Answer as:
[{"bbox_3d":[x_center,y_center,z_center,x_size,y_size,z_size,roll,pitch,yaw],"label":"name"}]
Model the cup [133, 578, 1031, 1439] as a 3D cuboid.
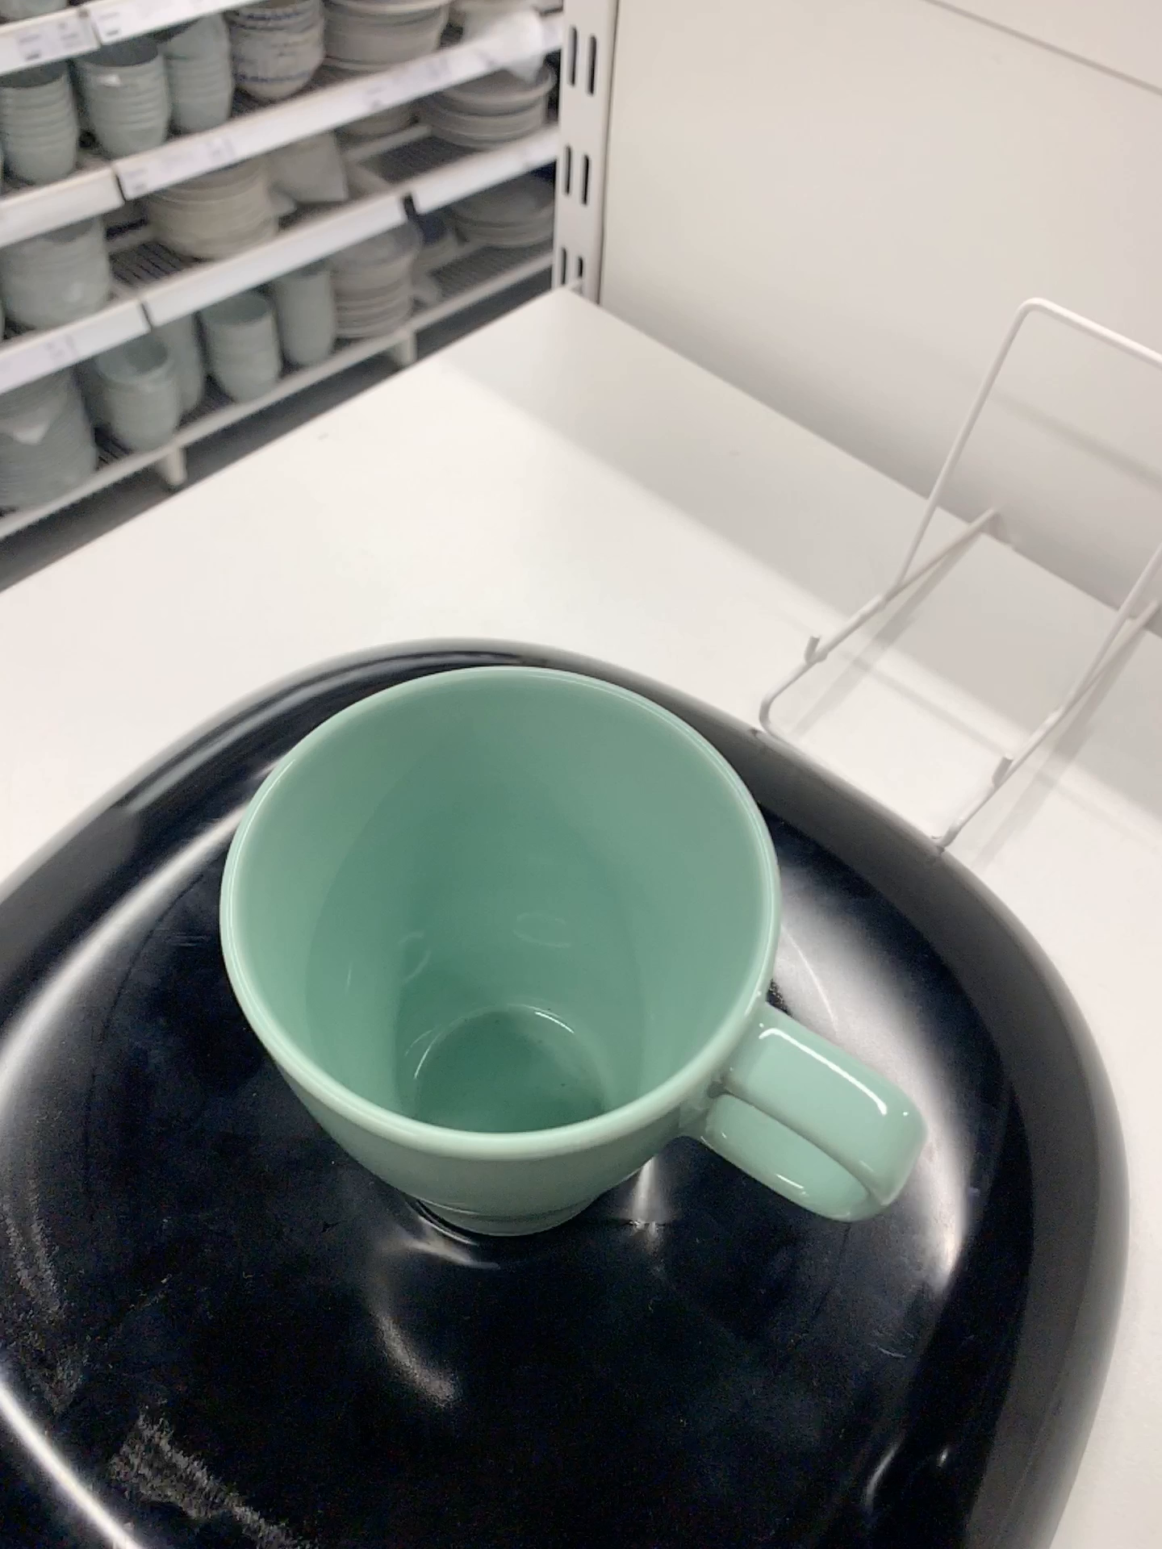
[{"bbox_3d":[0.001,0.044,0.216,0.110,0.100,0.080,21,53,11],"label":"cup"}]
